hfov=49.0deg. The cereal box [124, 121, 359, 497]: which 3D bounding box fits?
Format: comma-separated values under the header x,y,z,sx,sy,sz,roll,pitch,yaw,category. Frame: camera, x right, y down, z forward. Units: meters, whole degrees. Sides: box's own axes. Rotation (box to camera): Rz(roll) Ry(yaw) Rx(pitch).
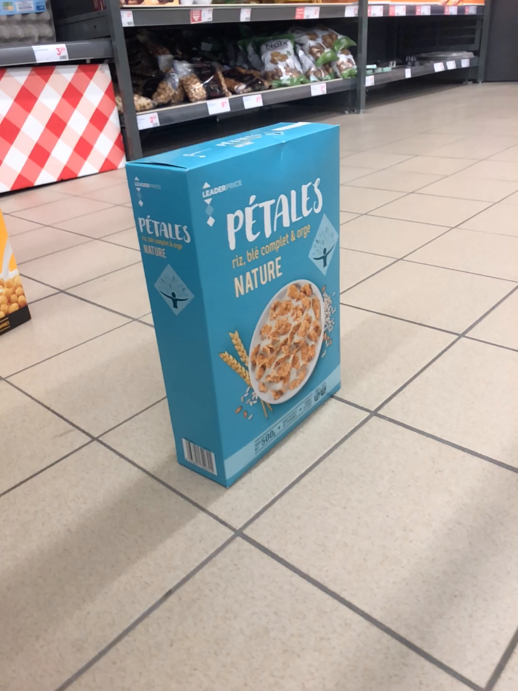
x,y,z,sx,sy,sz,roll,pitch,yaw,category
0.005,-0.041,0.503,0.070,0.269,0.201,17,34,36,cereal box
